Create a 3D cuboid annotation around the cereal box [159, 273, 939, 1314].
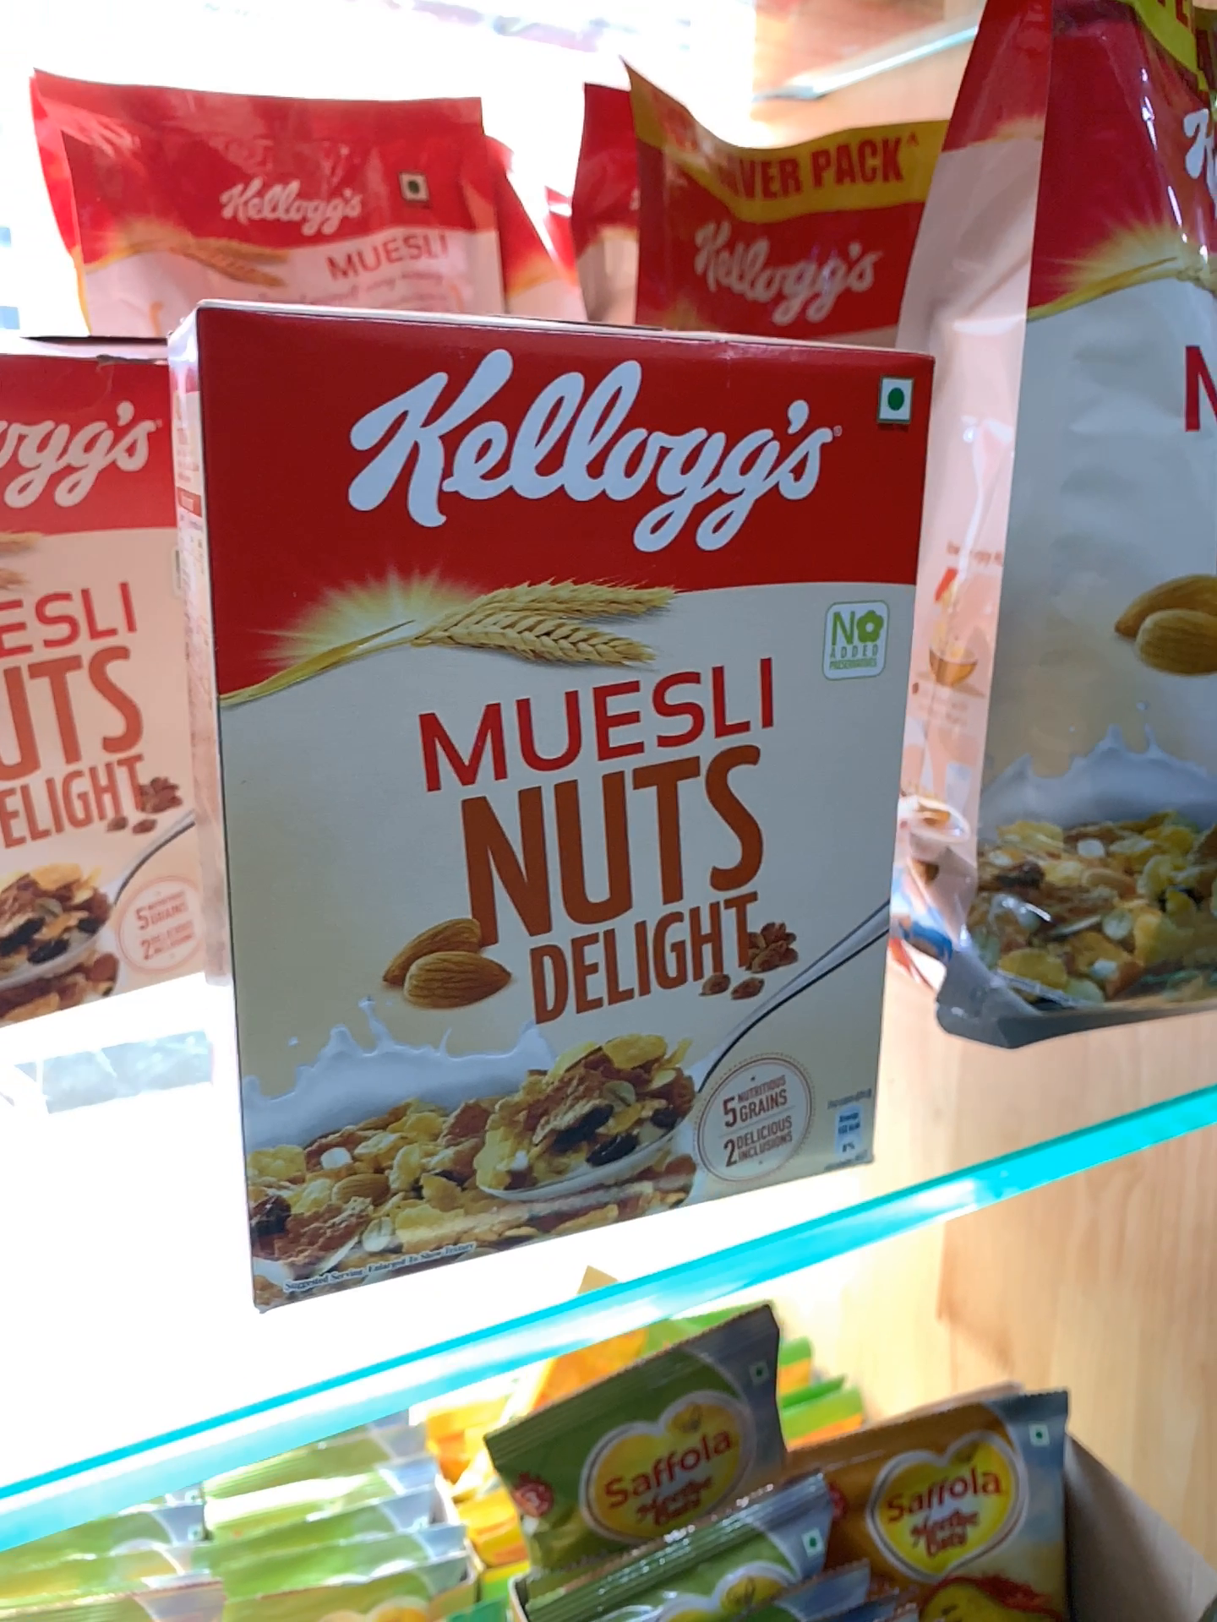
[{"bbox_3d":[-0.011,-0.006,0.249,0.130,0.169,0.050,-5,16,-24],"label":"cereal box"}]
